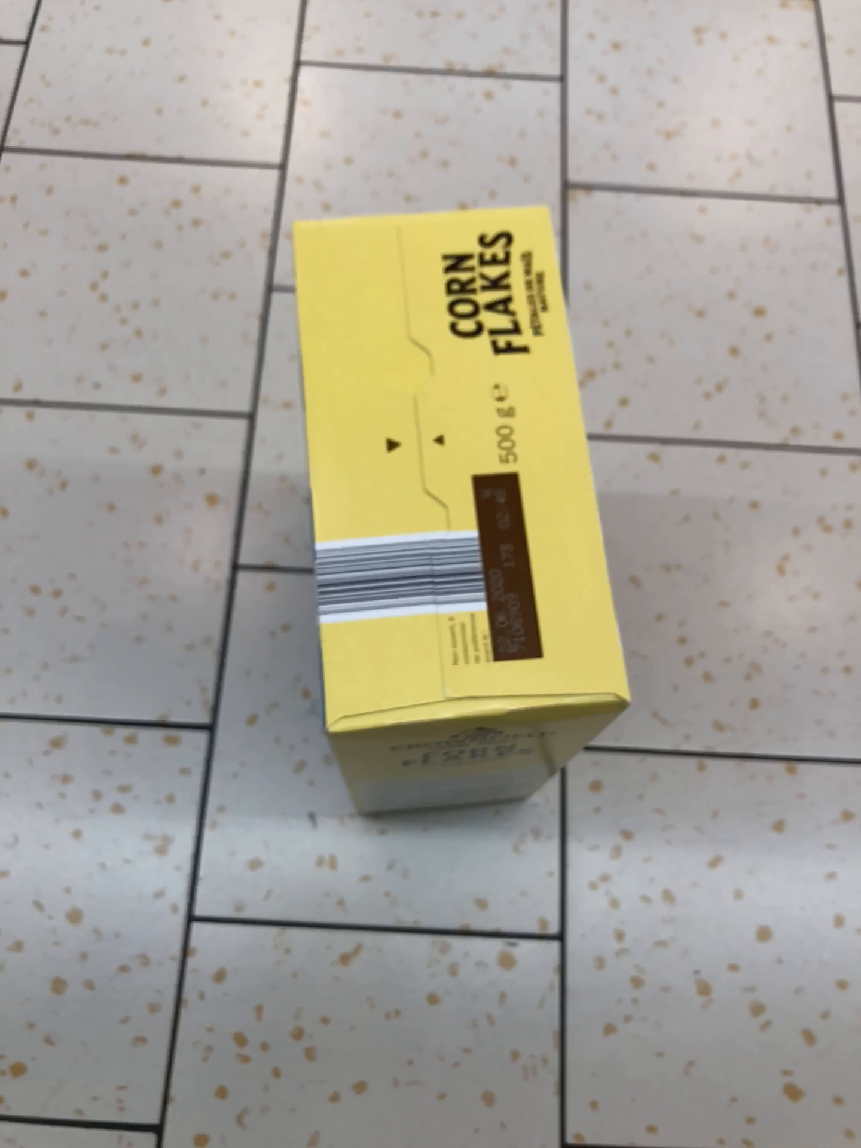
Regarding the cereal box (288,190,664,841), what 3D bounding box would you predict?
[{"bbox_3d":[0.005,0.002,0.435,0.100,0.259,0.200,-5,70,-4],"label":"cereal box"}]
